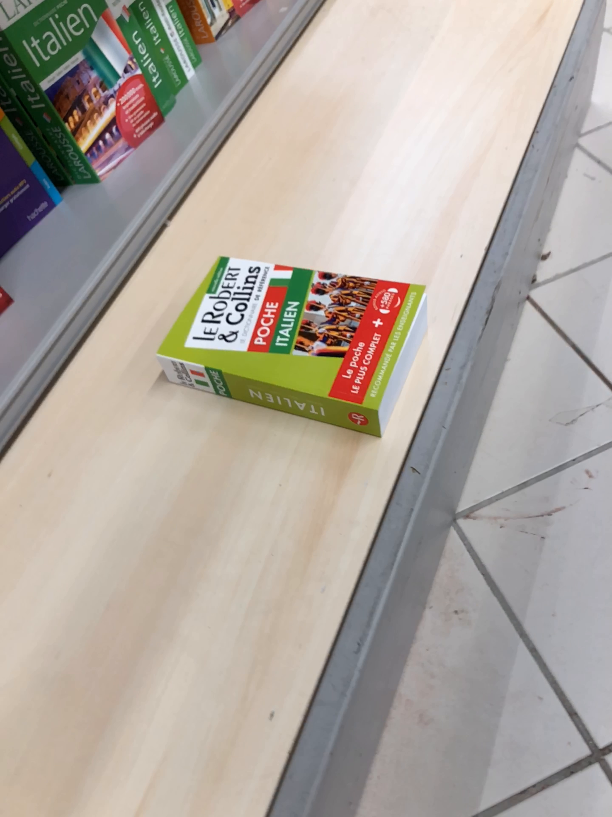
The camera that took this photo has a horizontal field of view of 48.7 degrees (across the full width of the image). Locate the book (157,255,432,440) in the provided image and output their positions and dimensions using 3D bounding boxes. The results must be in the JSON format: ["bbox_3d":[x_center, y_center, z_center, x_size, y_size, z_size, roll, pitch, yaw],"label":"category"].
[{"bbox_3d":[-0.006,-0.052,0.510,0.175,0.040,0.111,13,57,20],"label":"book"}]
